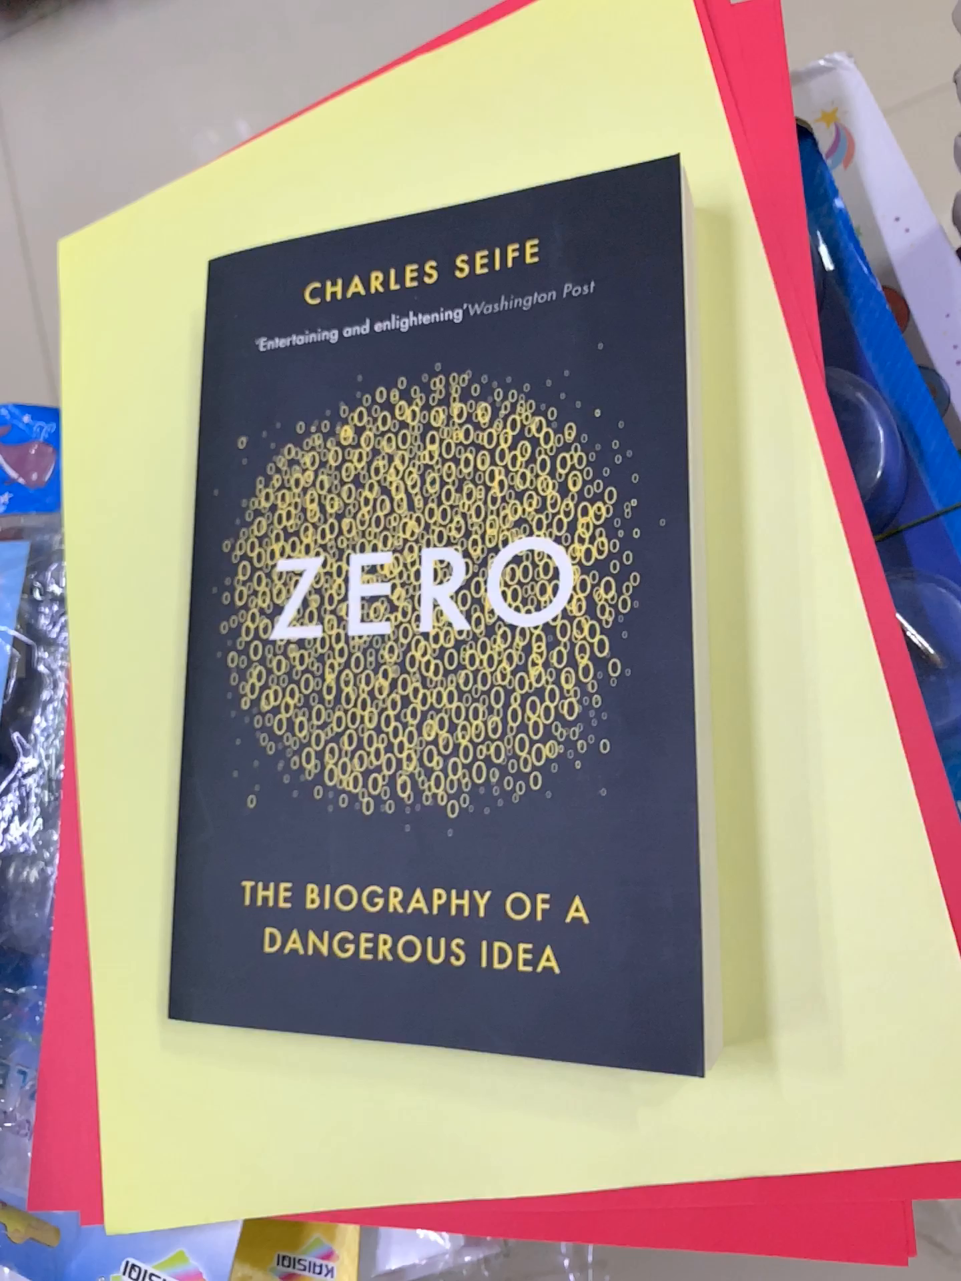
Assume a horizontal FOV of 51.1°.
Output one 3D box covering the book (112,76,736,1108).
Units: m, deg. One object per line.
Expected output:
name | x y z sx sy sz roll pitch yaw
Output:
book | -0.013 -0.011 0.233 0.130 0.040 0.200 -3 81 20
